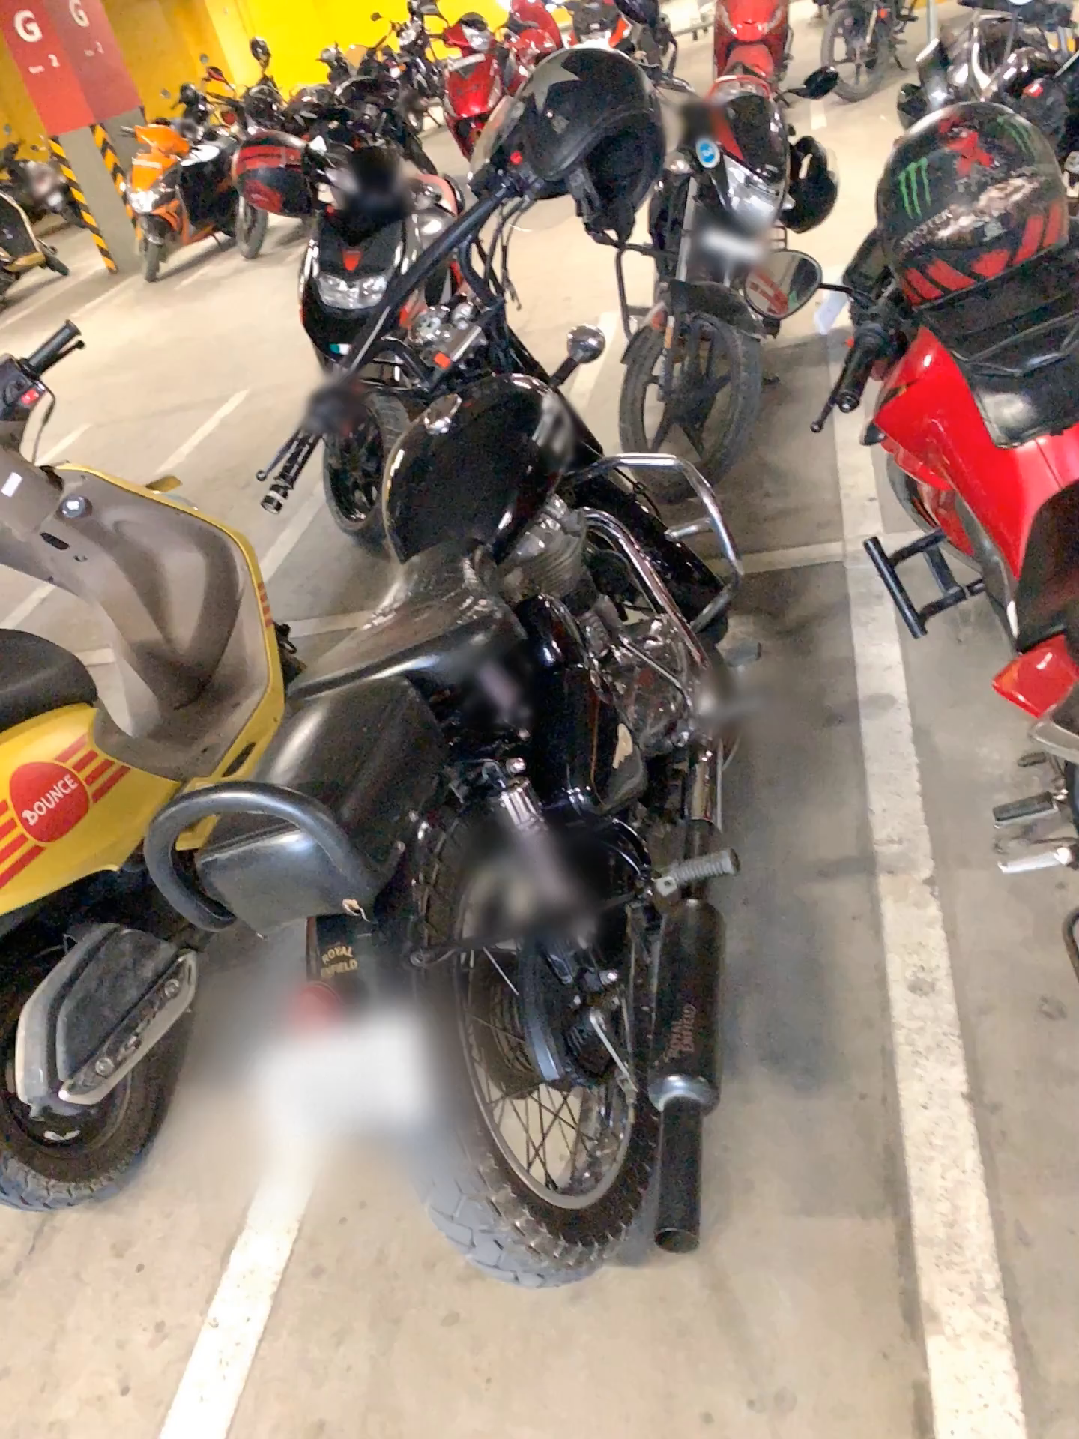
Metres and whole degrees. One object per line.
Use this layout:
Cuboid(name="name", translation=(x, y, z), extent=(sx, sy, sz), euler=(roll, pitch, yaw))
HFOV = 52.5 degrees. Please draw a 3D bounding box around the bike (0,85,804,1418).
Cuboid(name="bike", translation=(-0.180, -0.186, 1.938), extent=(0.799, 1.303, 2.031), euler=(-11, 34, 11))
